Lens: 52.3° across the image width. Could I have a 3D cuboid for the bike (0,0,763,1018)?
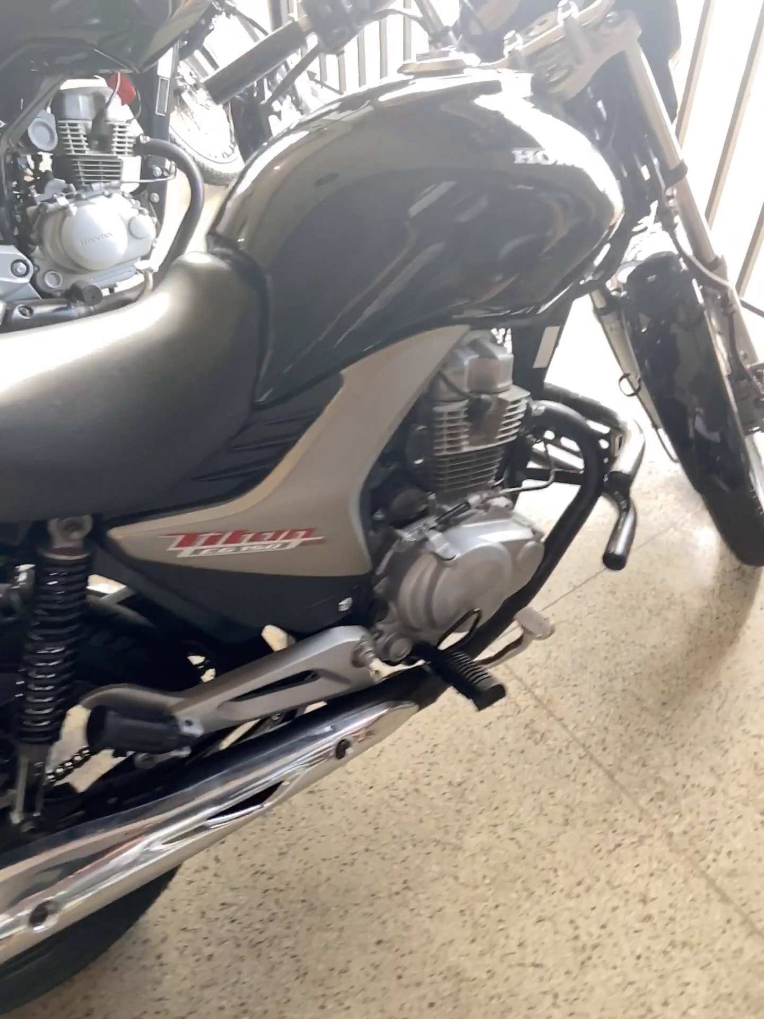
[{"bbox_3d":[-0.106,-0.199,1.039,1.741,1.137,0.775,-31,52,-28],"label":"bike"}]
